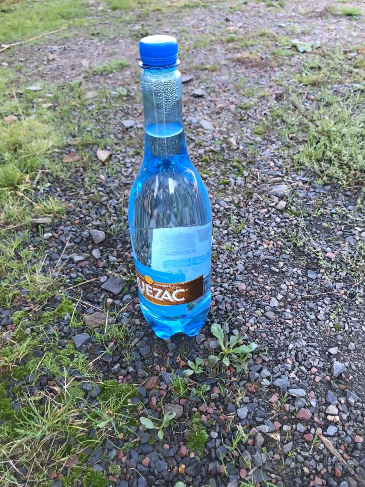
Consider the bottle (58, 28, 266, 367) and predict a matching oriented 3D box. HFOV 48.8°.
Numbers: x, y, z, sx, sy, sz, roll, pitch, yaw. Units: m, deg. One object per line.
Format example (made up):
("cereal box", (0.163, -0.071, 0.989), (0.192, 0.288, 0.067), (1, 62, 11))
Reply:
("bottle", (-0.008, -0.029, 0.399), (0.110, 0.298, 0.111), (-2, 41, 2))
